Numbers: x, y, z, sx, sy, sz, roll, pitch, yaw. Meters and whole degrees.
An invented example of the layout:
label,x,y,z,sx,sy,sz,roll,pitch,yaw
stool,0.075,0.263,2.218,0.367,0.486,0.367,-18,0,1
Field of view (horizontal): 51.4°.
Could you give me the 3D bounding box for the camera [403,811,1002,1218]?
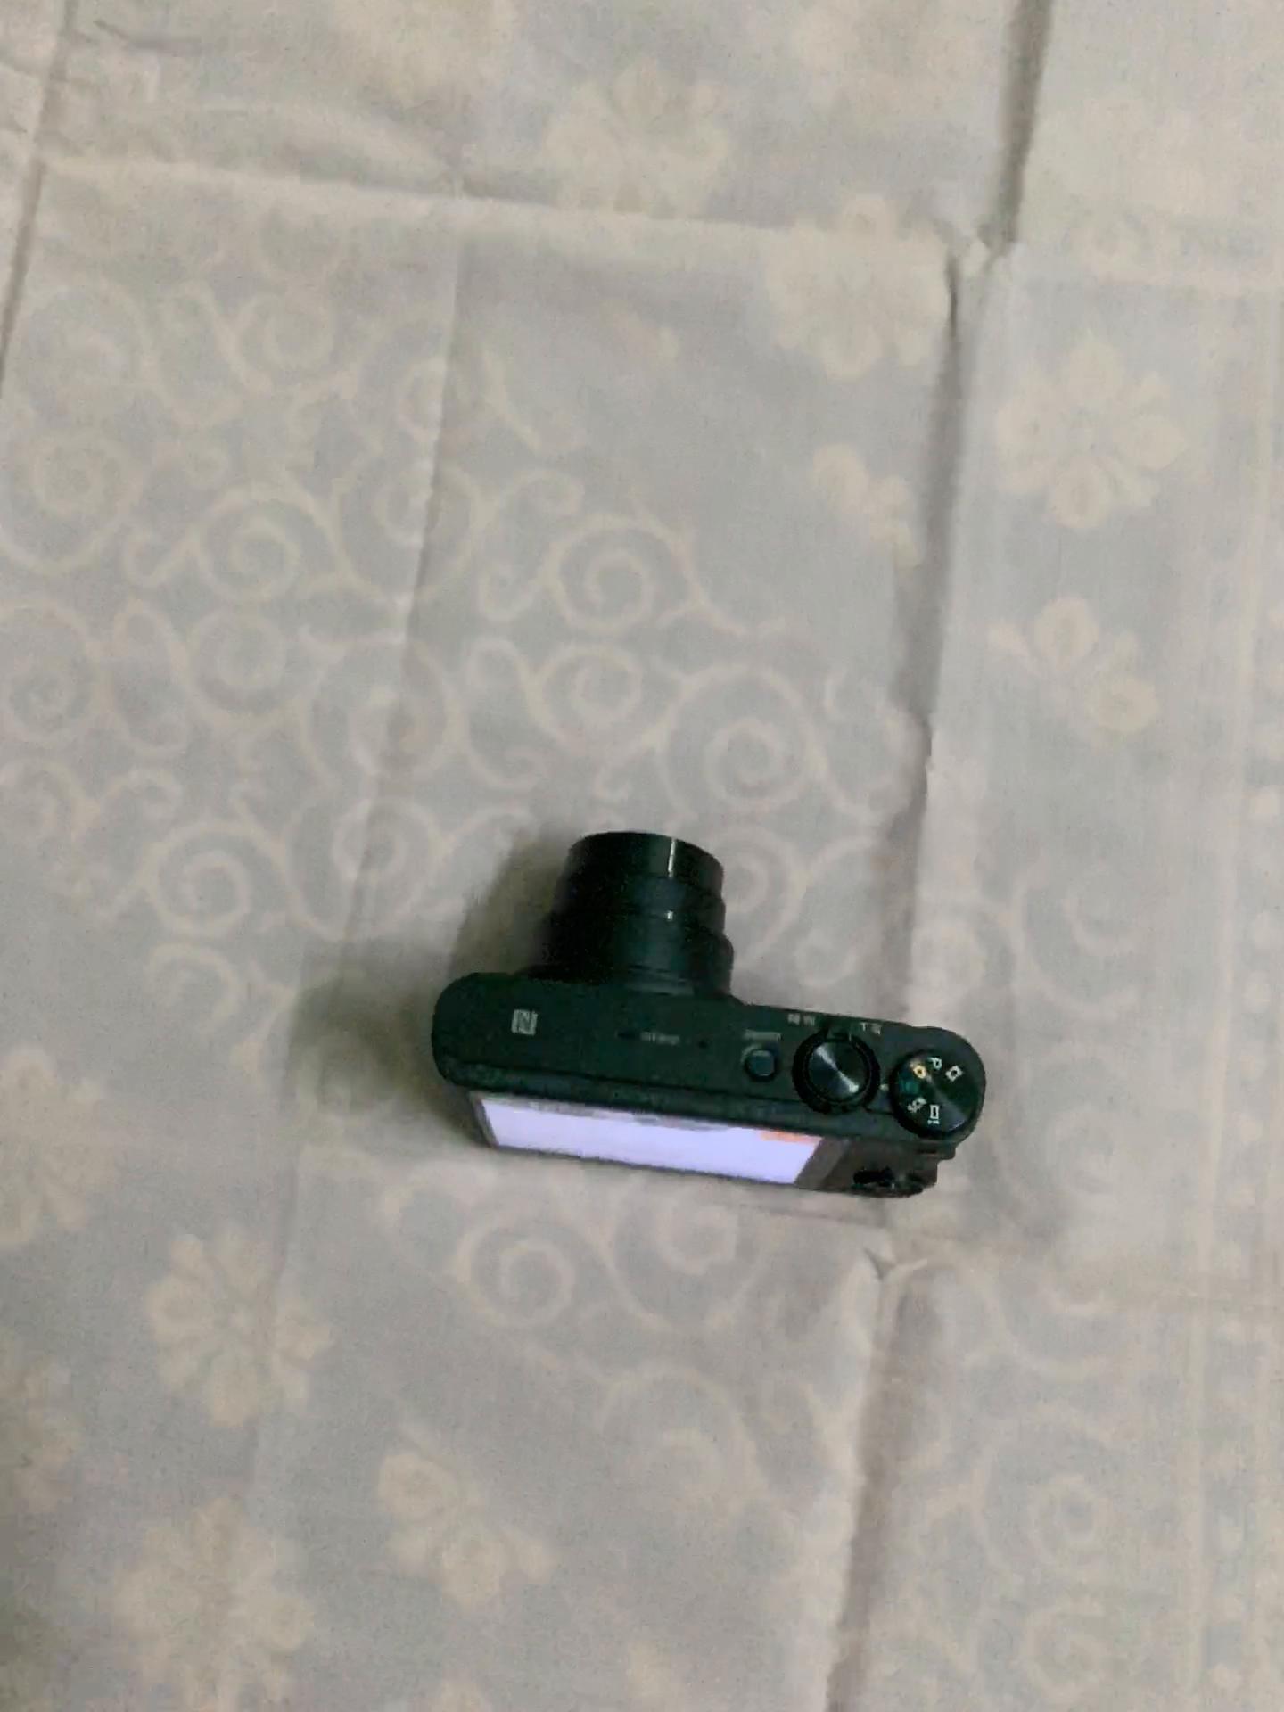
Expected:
label,x,y,z,sx,sy,sz,roll,pitch,yaw
camera,0.012,0.034,0.264,0.100,0.060,0.058,7,73,2
